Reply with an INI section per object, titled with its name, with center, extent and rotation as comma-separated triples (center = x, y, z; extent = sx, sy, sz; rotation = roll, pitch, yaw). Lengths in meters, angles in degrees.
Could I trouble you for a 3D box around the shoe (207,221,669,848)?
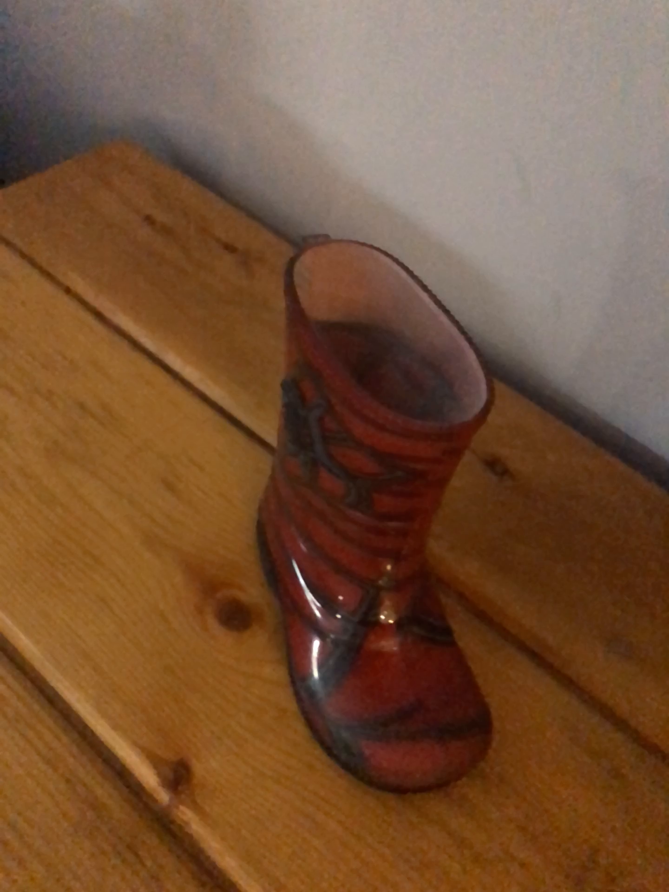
[shoe]
center = 0.015, 0.038, 0.289
extent = 0.080, 0.170, 0.160
rotation = -15, 55, -20
